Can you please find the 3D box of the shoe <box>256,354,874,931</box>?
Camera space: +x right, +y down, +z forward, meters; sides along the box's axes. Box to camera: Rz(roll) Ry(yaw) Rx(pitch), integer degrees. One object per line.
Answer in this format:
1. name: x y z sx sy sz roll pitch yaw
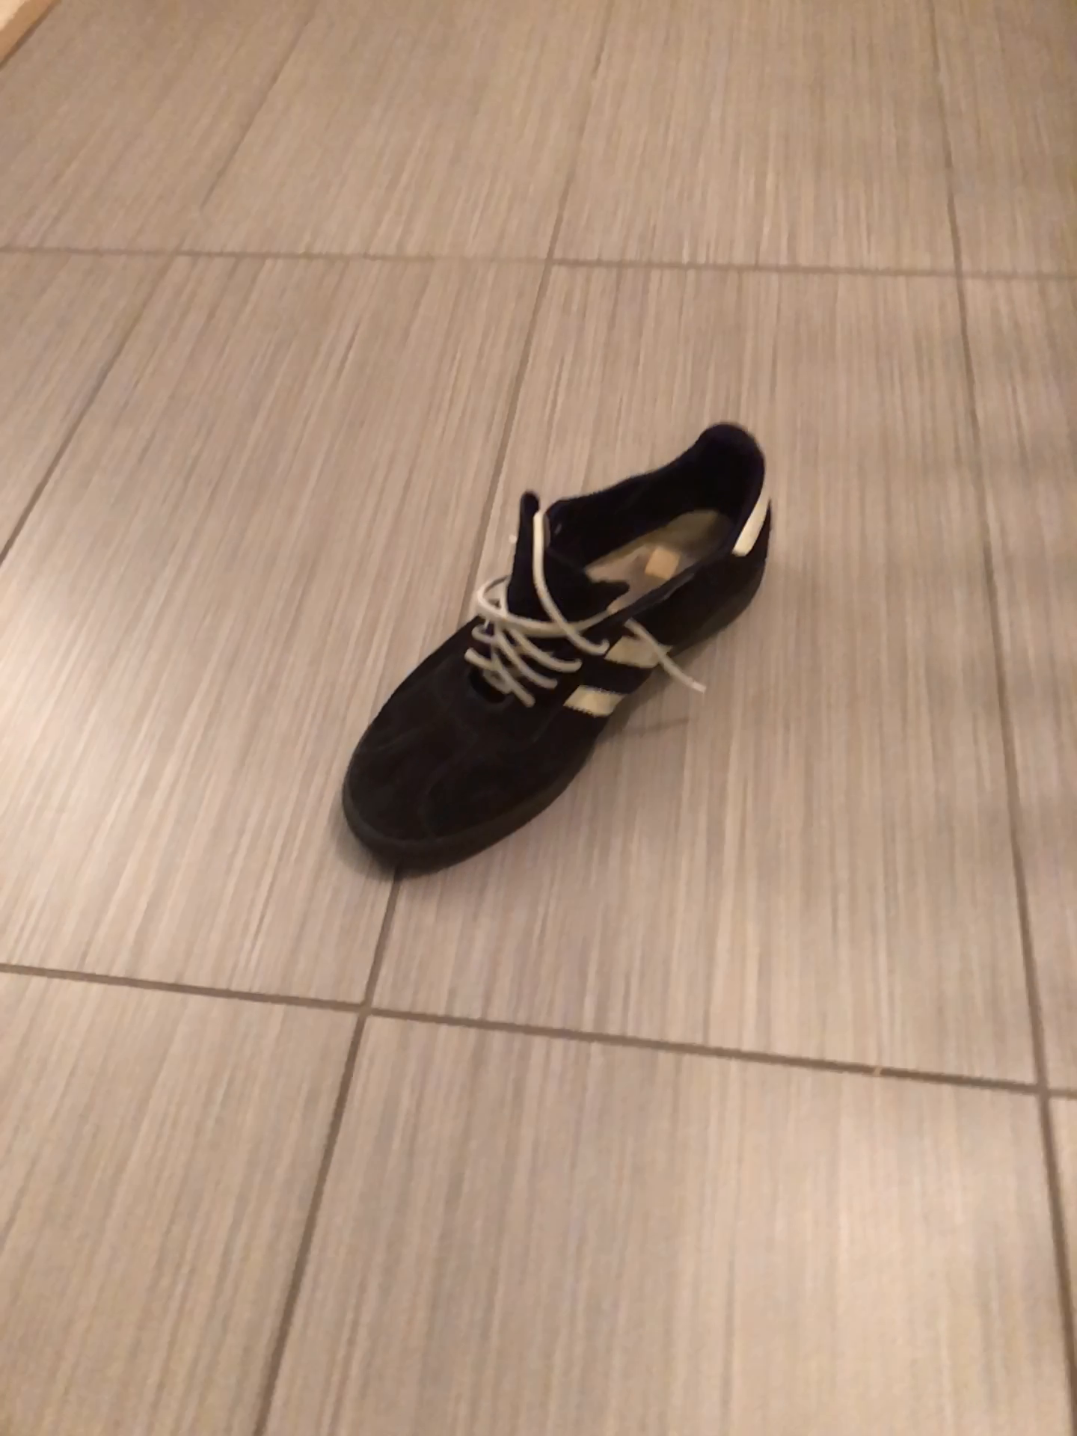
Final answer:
1. shoe: 0.025 -0.049 0.622 0.311 0.119 0.110 -37 59 -22
